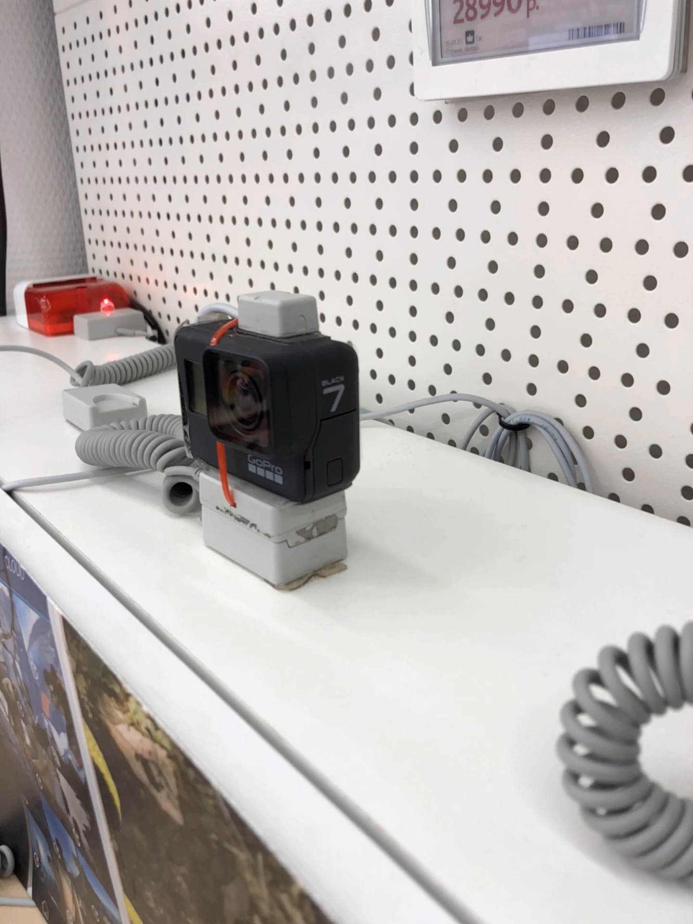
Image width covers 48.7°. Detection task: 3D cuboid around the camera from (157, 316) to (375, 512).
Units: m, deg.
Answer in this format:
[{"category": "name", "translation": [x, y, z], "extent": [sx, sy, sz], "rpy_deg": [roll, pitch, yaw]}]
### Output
[{"category": "camera", "translation": [-0.026, -0.018, 0.237], "extent": [0.032, 0.043, 0.064], "rpy_deg": [-19, 27, -40]}]
